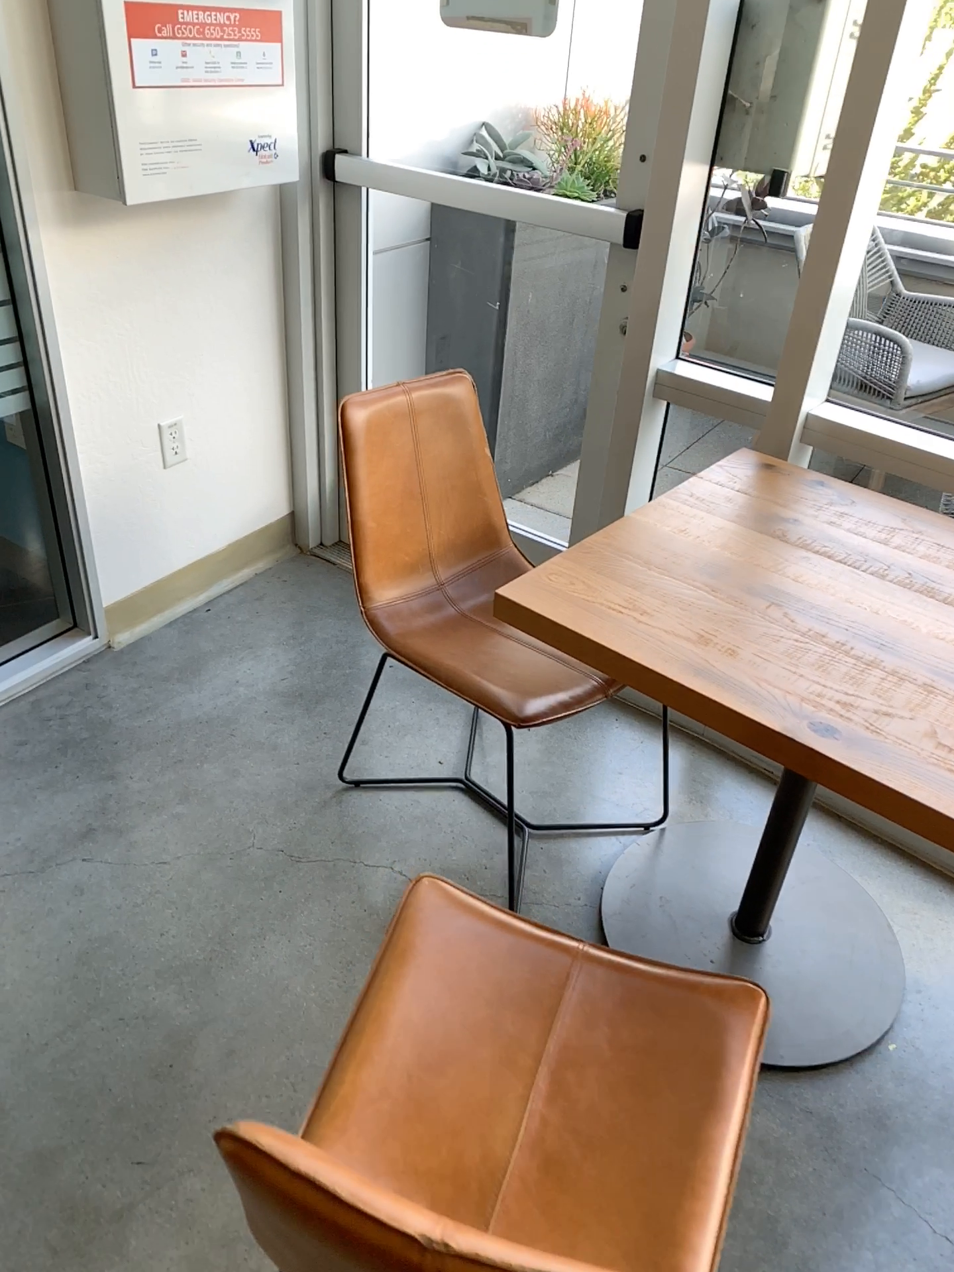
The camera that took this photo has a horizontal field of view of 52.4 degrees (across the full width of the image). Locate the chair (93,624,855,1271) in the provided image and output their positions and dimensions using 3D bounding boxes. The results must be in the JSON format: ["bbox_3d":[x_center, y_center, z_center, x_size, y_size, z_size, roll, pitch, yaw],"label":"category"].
[{"bbox_3d":[0.033,0.542,1.089,0.491,0.864,0.543,15,39,14],"label":"chair"}]

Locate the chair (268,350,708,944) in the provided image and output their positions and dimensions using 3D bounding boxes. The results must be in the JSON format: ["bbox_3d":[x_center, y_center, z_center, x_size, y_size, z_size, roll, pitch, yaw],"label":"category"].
[{"bbox_3d":[0.006,-0.007,1.843,0.552,0.865,0.491,28,40,36],"label":"chair"}]
